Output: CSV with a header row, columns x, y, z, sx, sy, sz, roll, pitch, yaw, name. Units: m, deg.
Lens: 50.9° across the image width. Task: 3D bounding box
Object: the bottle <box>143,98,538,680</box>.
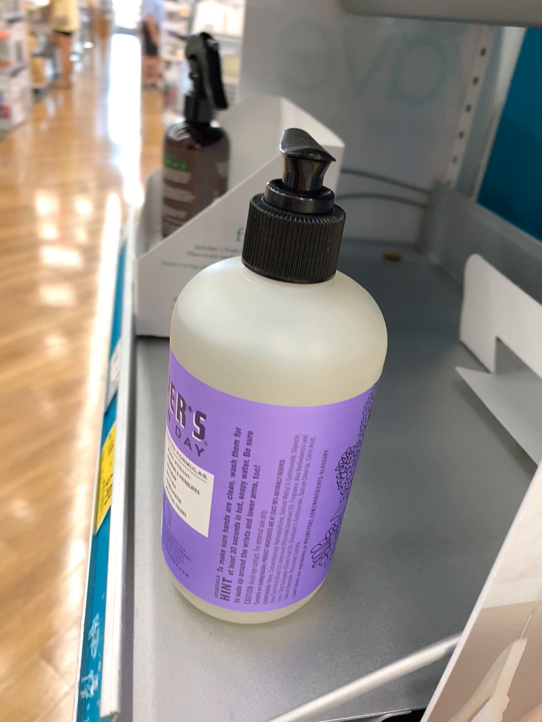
x,y,z,sx,sy,sz,roll,pitch,yaw,name
0.002,0.011,0.185,0.070,0.159,0.080,-3,32,-20,bottle
